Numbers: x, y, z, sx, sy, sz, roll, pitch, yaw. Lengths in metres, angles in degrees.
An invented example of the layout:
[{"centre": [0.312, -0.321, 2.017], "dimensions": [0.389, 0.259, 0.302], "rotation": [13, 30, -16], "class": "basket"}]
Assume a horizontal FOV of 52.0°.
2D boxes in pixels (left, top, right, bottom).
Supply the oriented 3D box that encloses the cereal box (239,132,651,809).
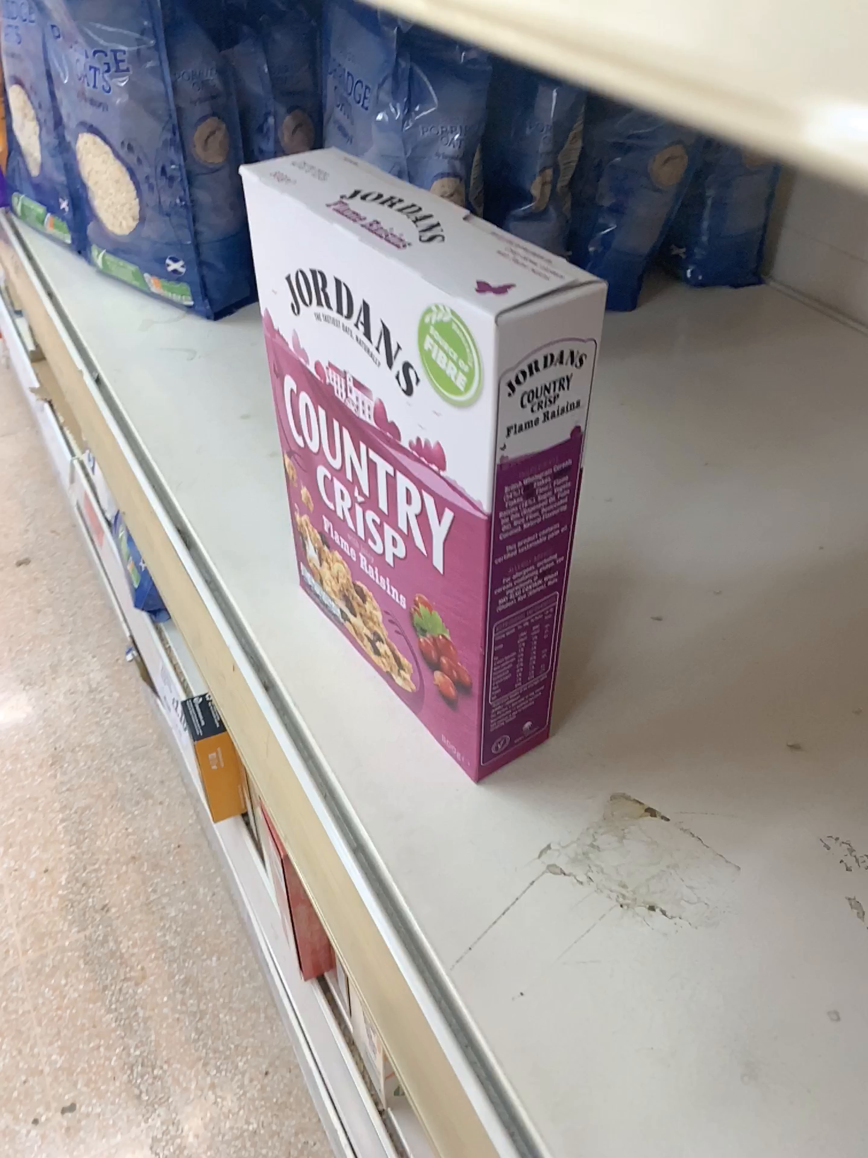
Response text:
[{"centre": [-0.010, -0.047, 0.428], "dimensions": [0.050, 0.257, 0.201], "rotation": [-25, 48, -27], "class": "cereal box"}]
